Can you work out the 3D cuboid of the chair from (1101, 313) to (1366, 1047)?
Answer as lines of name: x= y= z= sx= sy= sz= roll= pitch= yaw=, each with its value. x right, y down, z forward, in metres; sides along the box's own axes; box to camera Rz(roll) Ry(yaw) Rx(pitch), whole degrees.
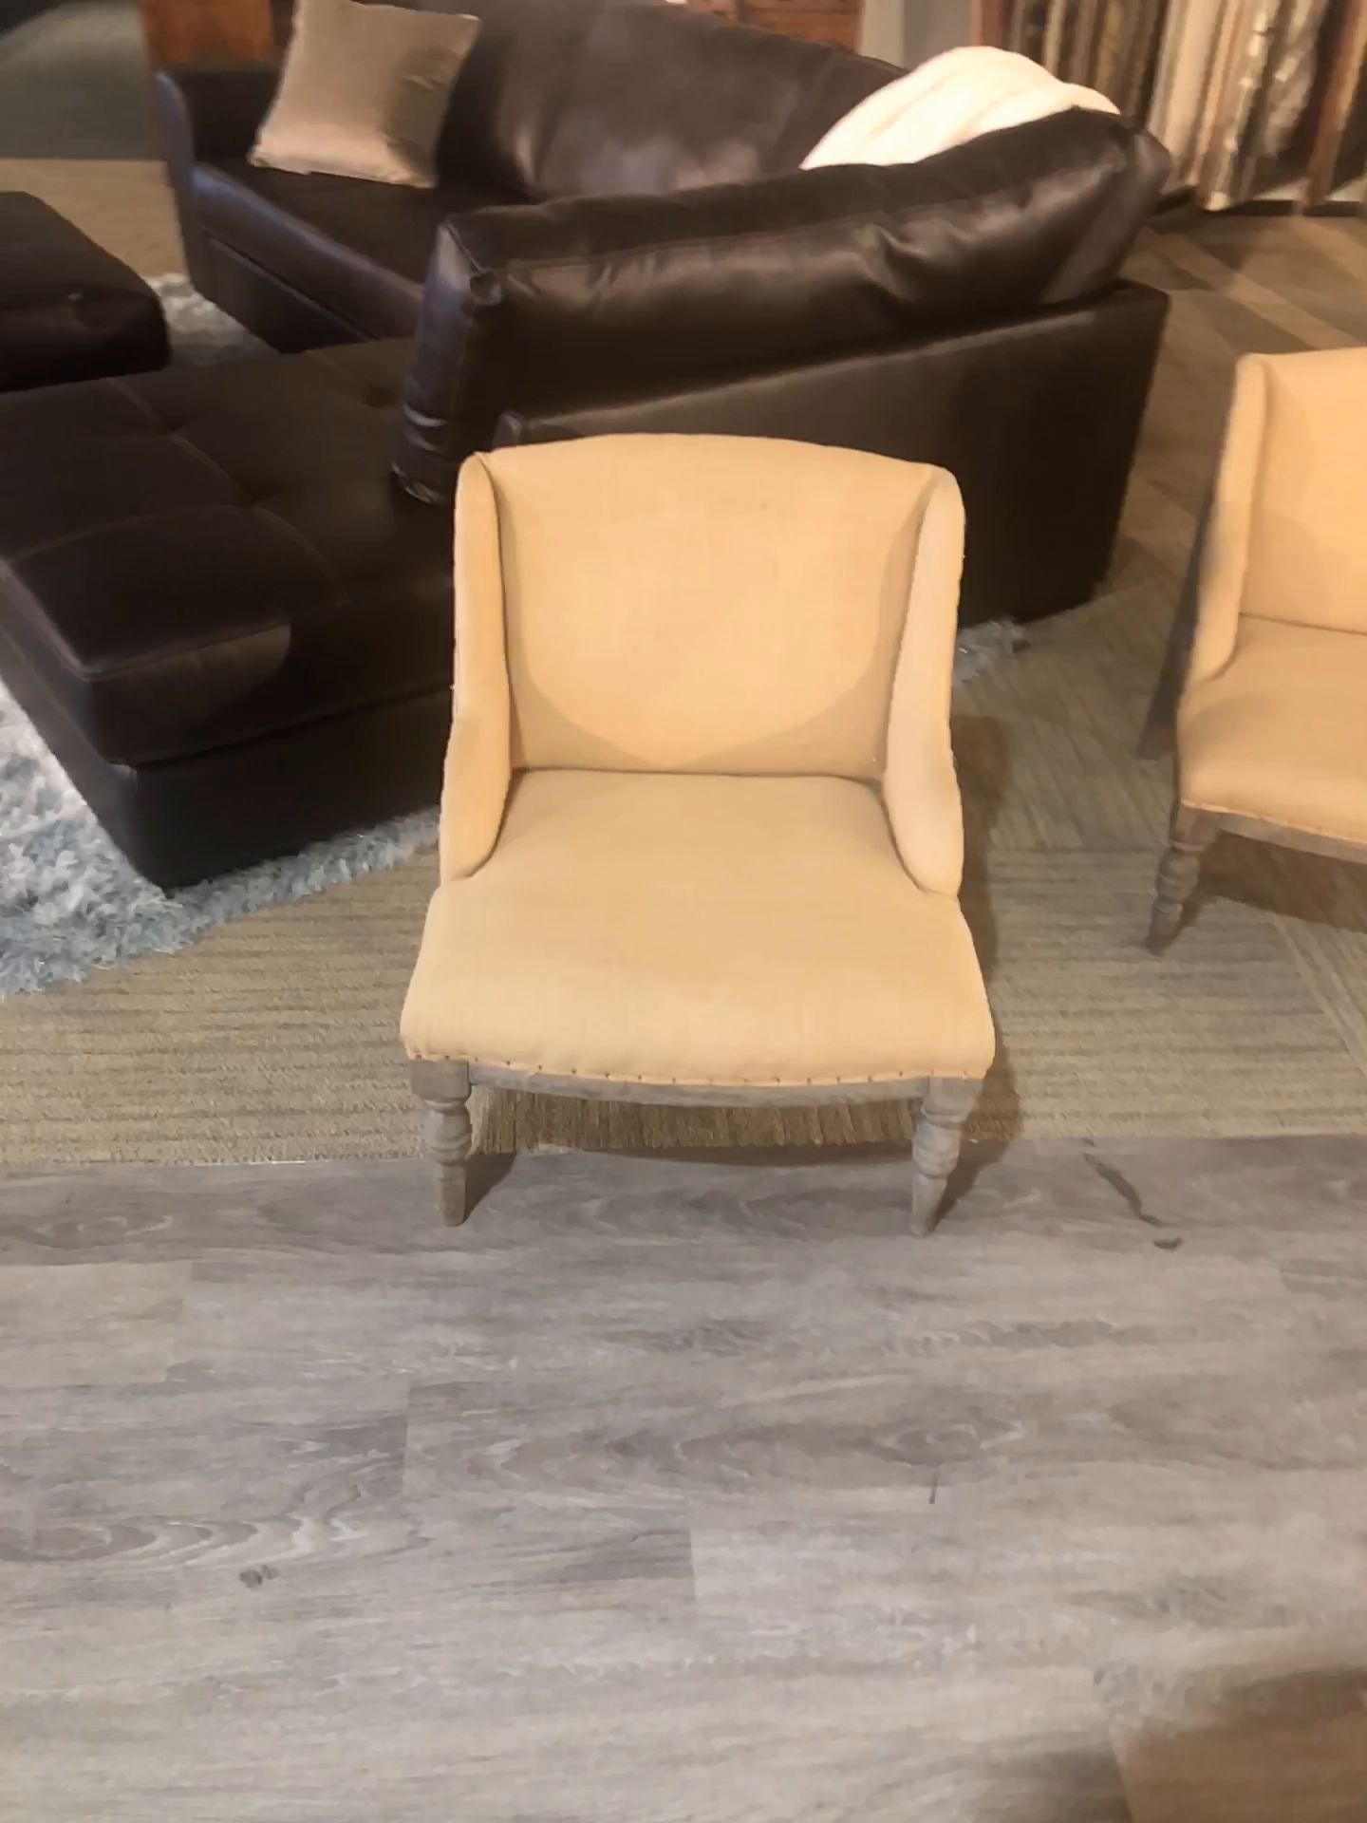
chair: x=0.945 y=-0.343 z=2.004 sx=0.627 sy=0.625 sz=0.722 roll=9 pitch=38 yaw=8

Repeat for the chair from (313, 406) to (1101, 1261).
chair: x=0.001 y=-0.100 z=1.681 sx=0.637 sy=0.685 sz=0.672 roll=1 pitch=38 yaw=-3
